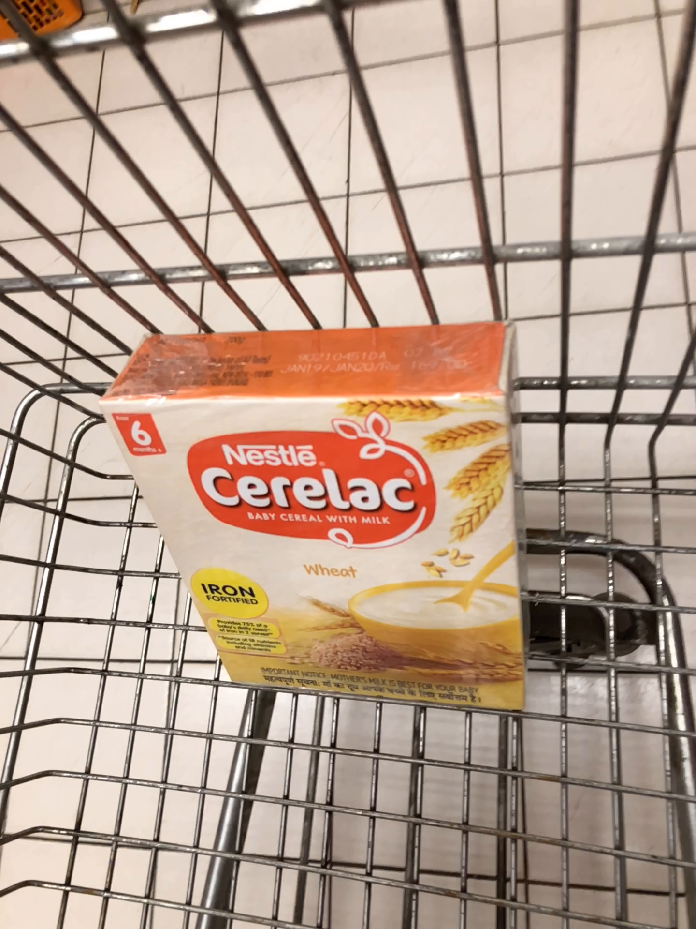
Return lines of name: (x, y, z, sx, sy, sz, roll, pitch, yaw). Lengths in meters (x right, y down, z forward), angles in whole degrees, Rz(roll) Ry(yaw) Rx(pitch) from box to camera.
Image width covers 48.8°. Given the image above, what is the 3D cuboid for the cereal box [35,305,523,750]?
cereal box: (-0.010, 0.033, 0.303, 0.150, 0.179, 0.050, 1, 40, 16)
